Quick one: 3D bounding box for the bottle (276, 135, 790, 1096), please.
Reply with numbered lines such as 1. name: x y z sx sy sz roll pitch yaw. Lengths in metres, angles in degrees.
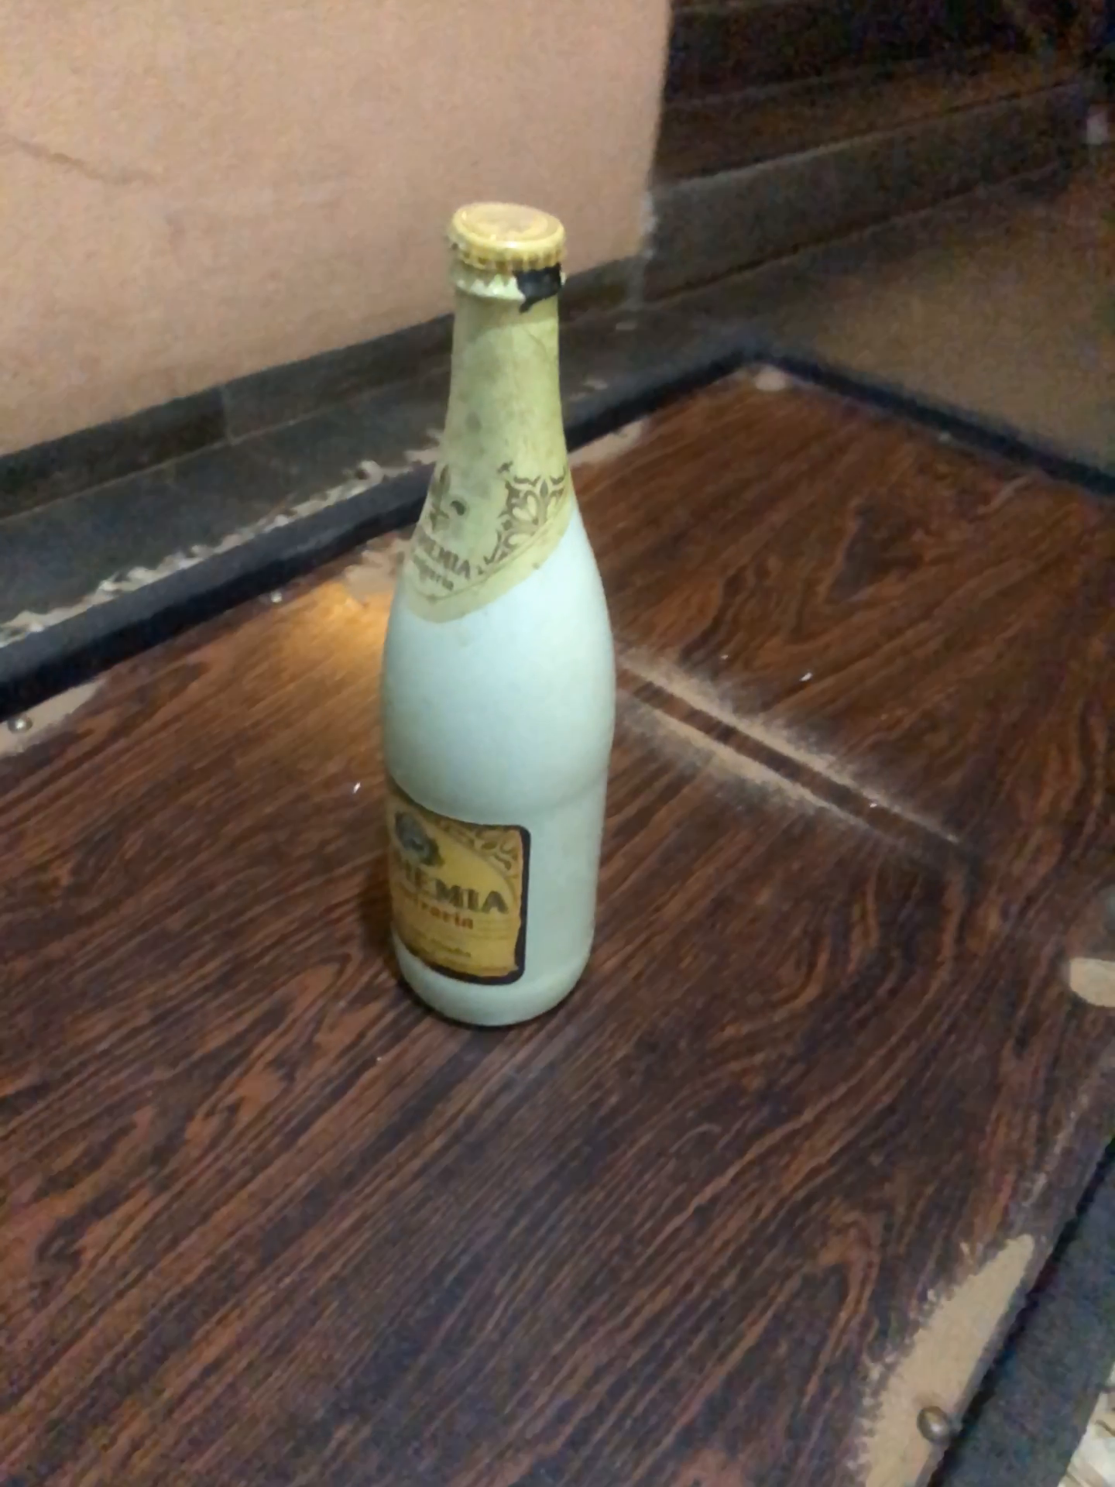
1. bottle: -0.015 -0.023 0.348 0.080 0.248 0.080 4 39 -3
